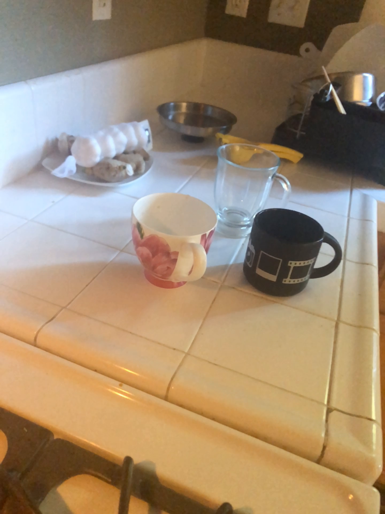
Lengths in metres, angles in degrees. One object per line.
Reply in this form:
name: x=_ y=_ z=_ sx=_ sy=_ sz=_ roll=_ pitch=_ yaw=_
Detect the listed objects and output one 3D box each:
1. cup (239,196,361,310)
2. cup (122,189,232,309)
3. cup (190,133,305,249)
cup: x=0.140 y=-0.007 z=0.578 sx=0.130 sy=0.089 sz=0.101 roll=12 pitch=35 yaw=2
cup: x=-0.028 y=-0.013 z=0.528 sx=0.110 sy=0.079 sz=0.141 roll=1 pitch=36 yaw=-12
cup: x=0.082 y=-0.107 z=0.661 sx=0.120 sy=0.119 sz=0.101 roll=34 pitch=42 yaw=30
